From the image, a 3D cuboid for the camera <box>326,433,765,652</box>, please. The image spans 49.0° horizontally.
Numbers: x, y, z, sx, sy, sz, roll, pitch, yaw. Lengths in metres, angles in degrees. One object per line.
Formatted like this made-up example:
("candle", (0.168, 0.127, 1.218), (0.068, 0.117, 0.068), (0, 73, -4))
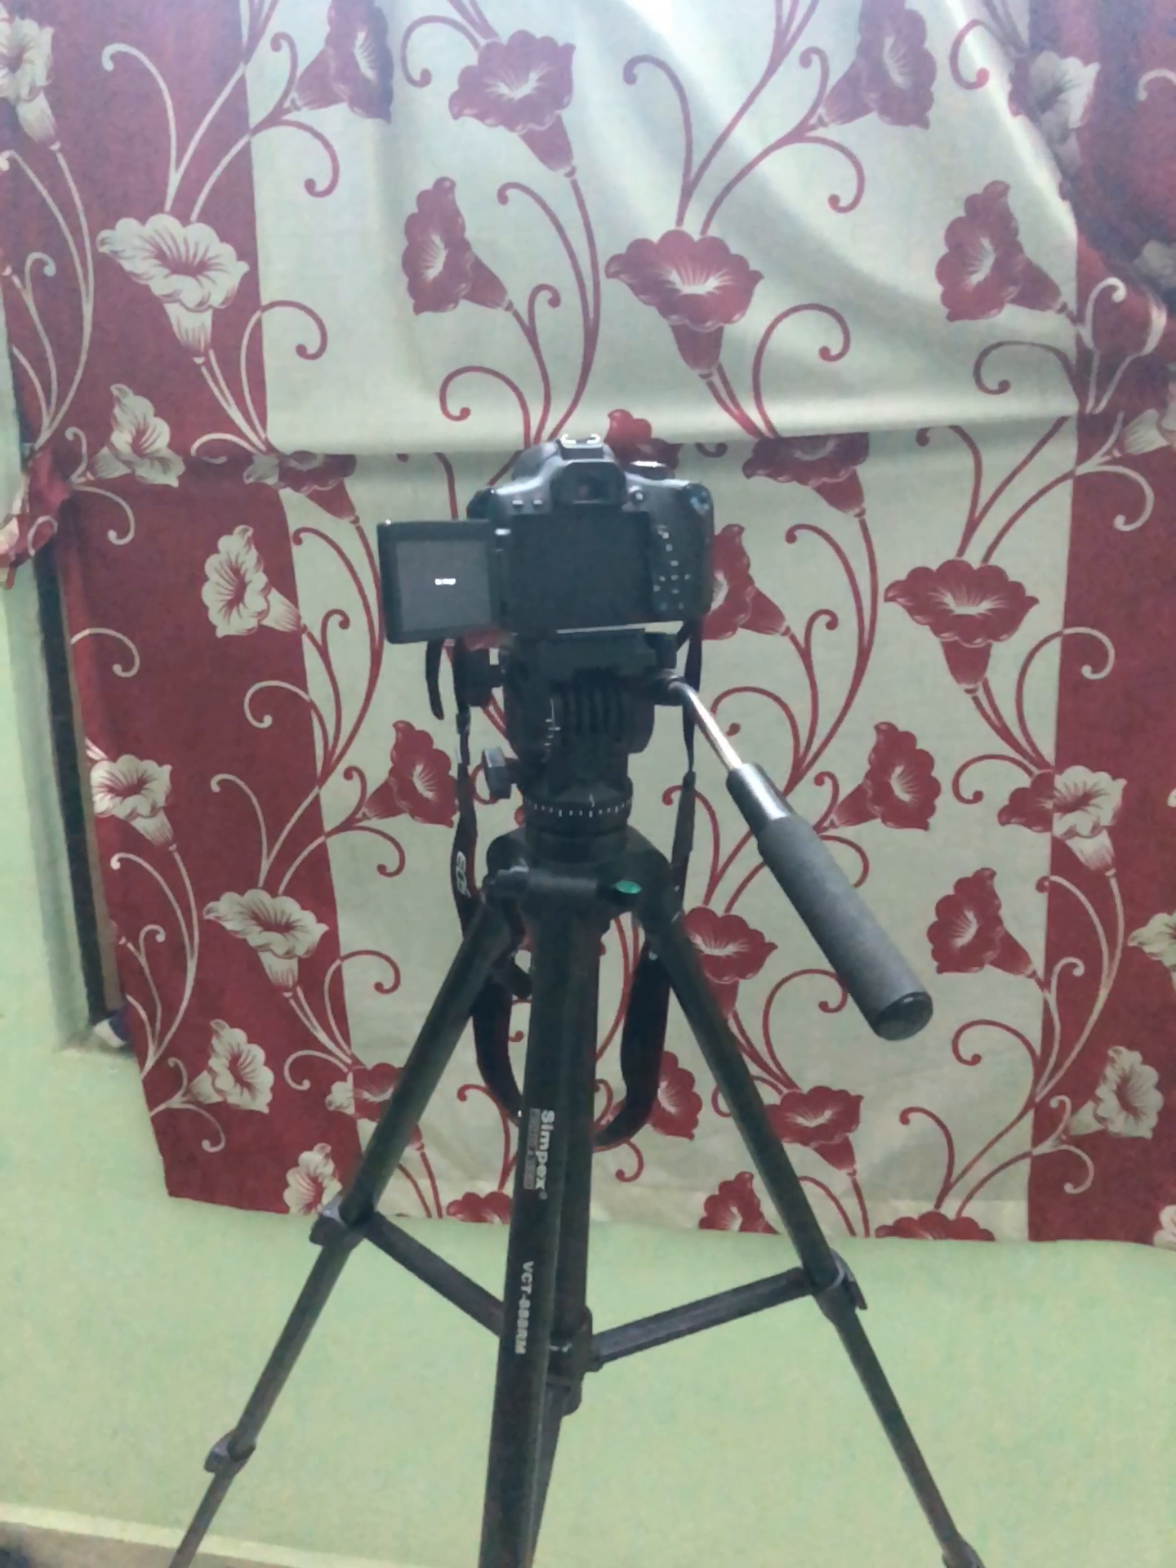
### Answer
("camera", (-0.029, -0.137, 0.696), (0.200, 0.087, 0.141), (-5, 22, -18))
